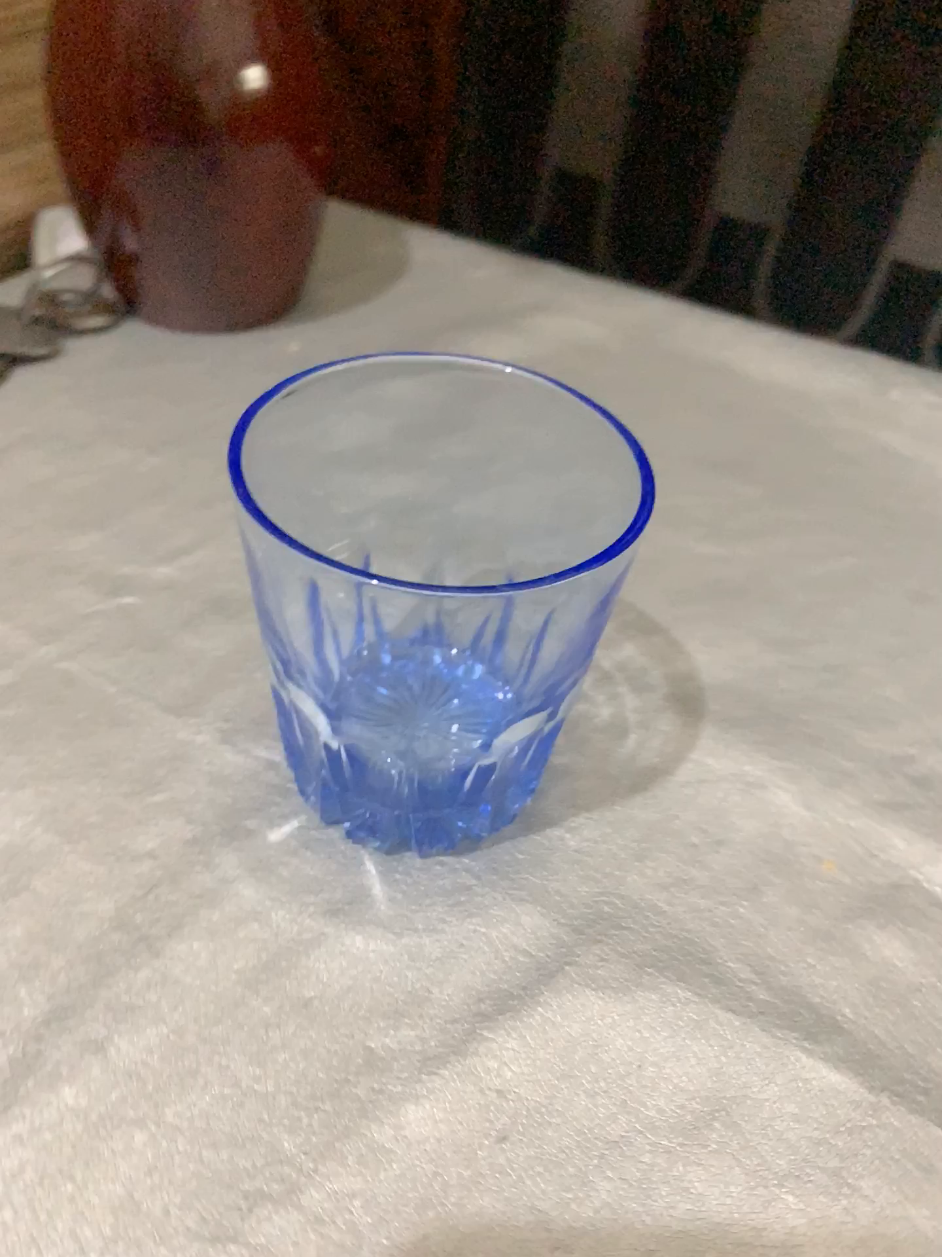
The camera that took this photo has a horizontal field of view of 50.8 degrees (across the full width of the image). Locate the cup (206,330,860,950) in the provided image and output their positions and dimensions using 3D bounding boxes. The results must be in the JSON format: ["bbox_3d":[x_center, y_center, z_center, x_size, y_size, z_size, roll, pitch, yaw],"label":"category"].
[{"bbox_3d":[0.002,-0.004,0.202,0.090,0.070,0.090,5,43,-5],"label":"cup"}]
